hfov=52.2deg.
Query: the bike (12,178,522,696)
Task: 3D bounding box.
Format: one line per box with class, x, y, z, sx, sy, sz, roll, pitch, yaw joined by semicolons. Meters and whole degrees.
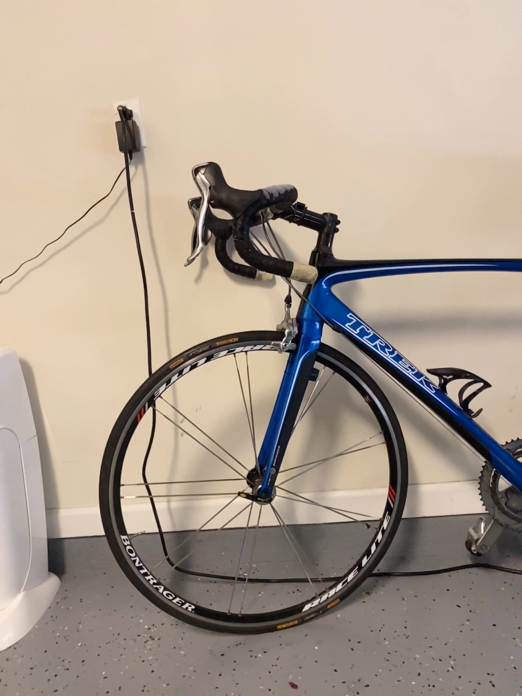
bike;0.543;0.168;1.013;1.638;0.883;0.401;-3;8;-6
